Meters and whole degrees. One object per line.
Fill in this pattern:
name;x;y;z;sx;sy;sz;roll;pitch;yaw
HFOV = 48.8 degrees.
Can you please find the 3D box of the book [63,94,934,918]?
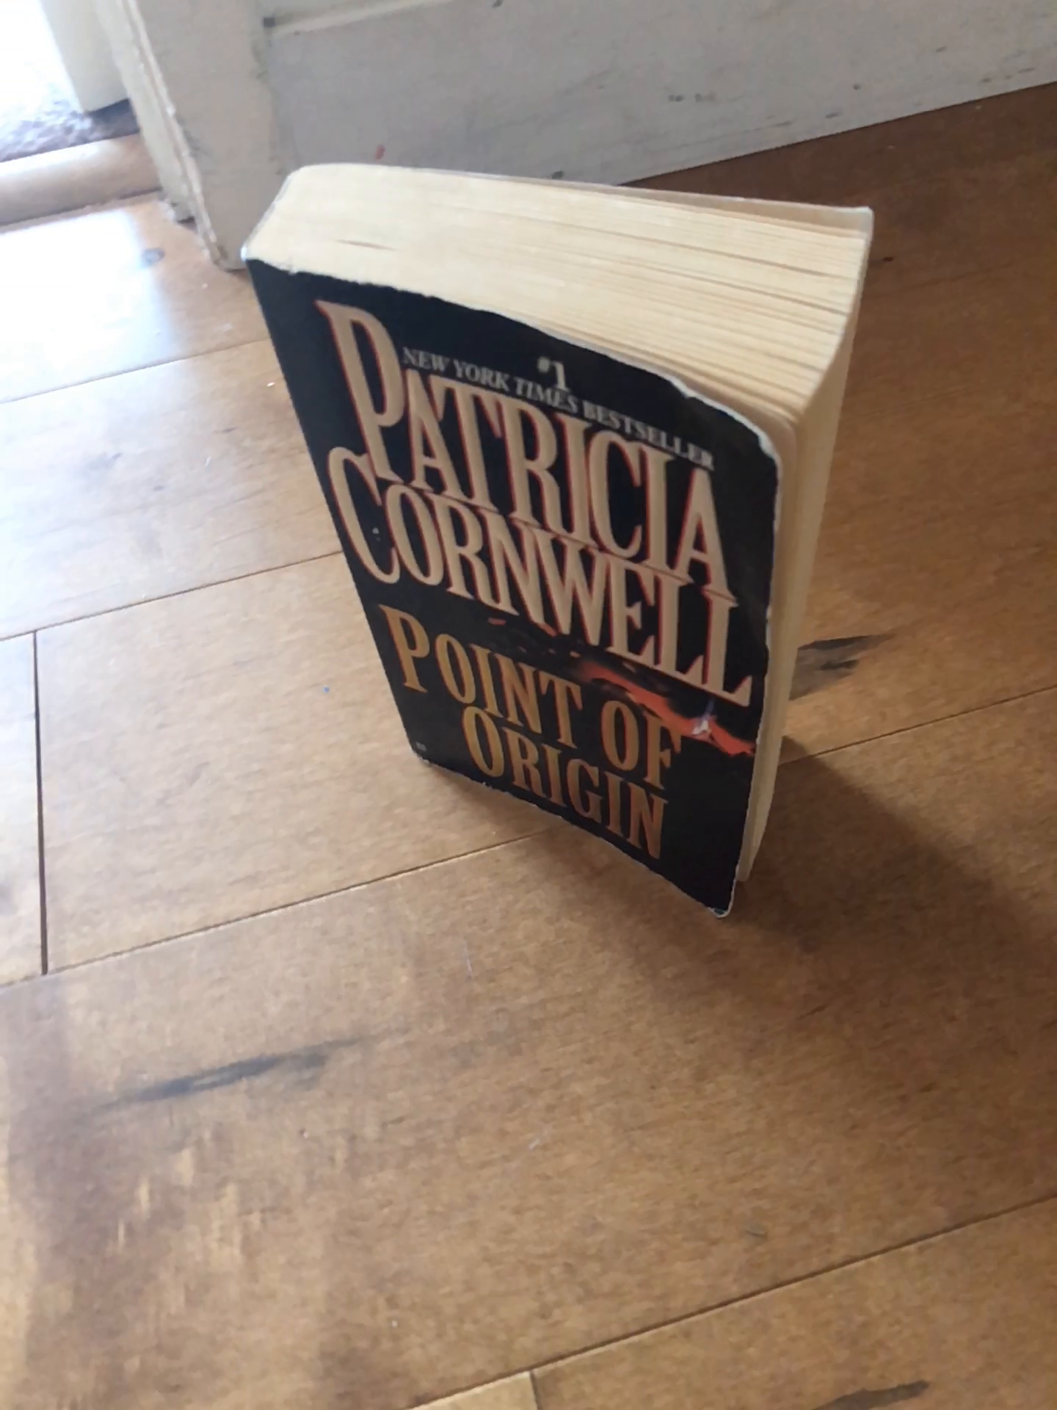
book;0.001;-0.031;0.250;0.130;0.159;0.050;19;62;19
